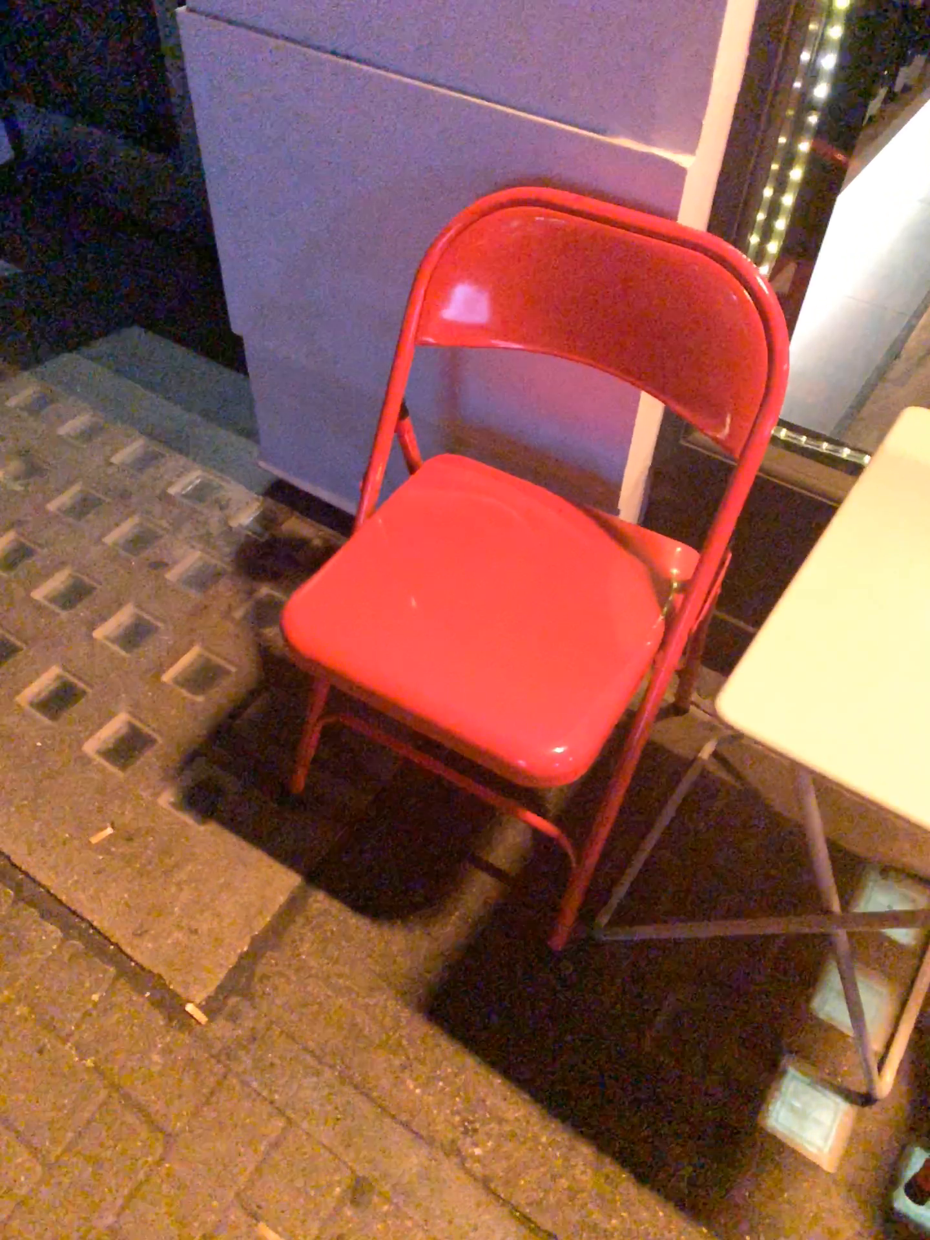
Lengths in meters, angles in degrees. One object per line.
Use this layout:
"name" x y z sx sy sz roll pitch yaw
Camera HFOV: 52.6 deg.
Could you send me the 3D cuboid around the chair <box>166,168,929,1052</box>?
"chair" 0.095 0.010 1.088 0.471 0.743 0.534 26 53 20
